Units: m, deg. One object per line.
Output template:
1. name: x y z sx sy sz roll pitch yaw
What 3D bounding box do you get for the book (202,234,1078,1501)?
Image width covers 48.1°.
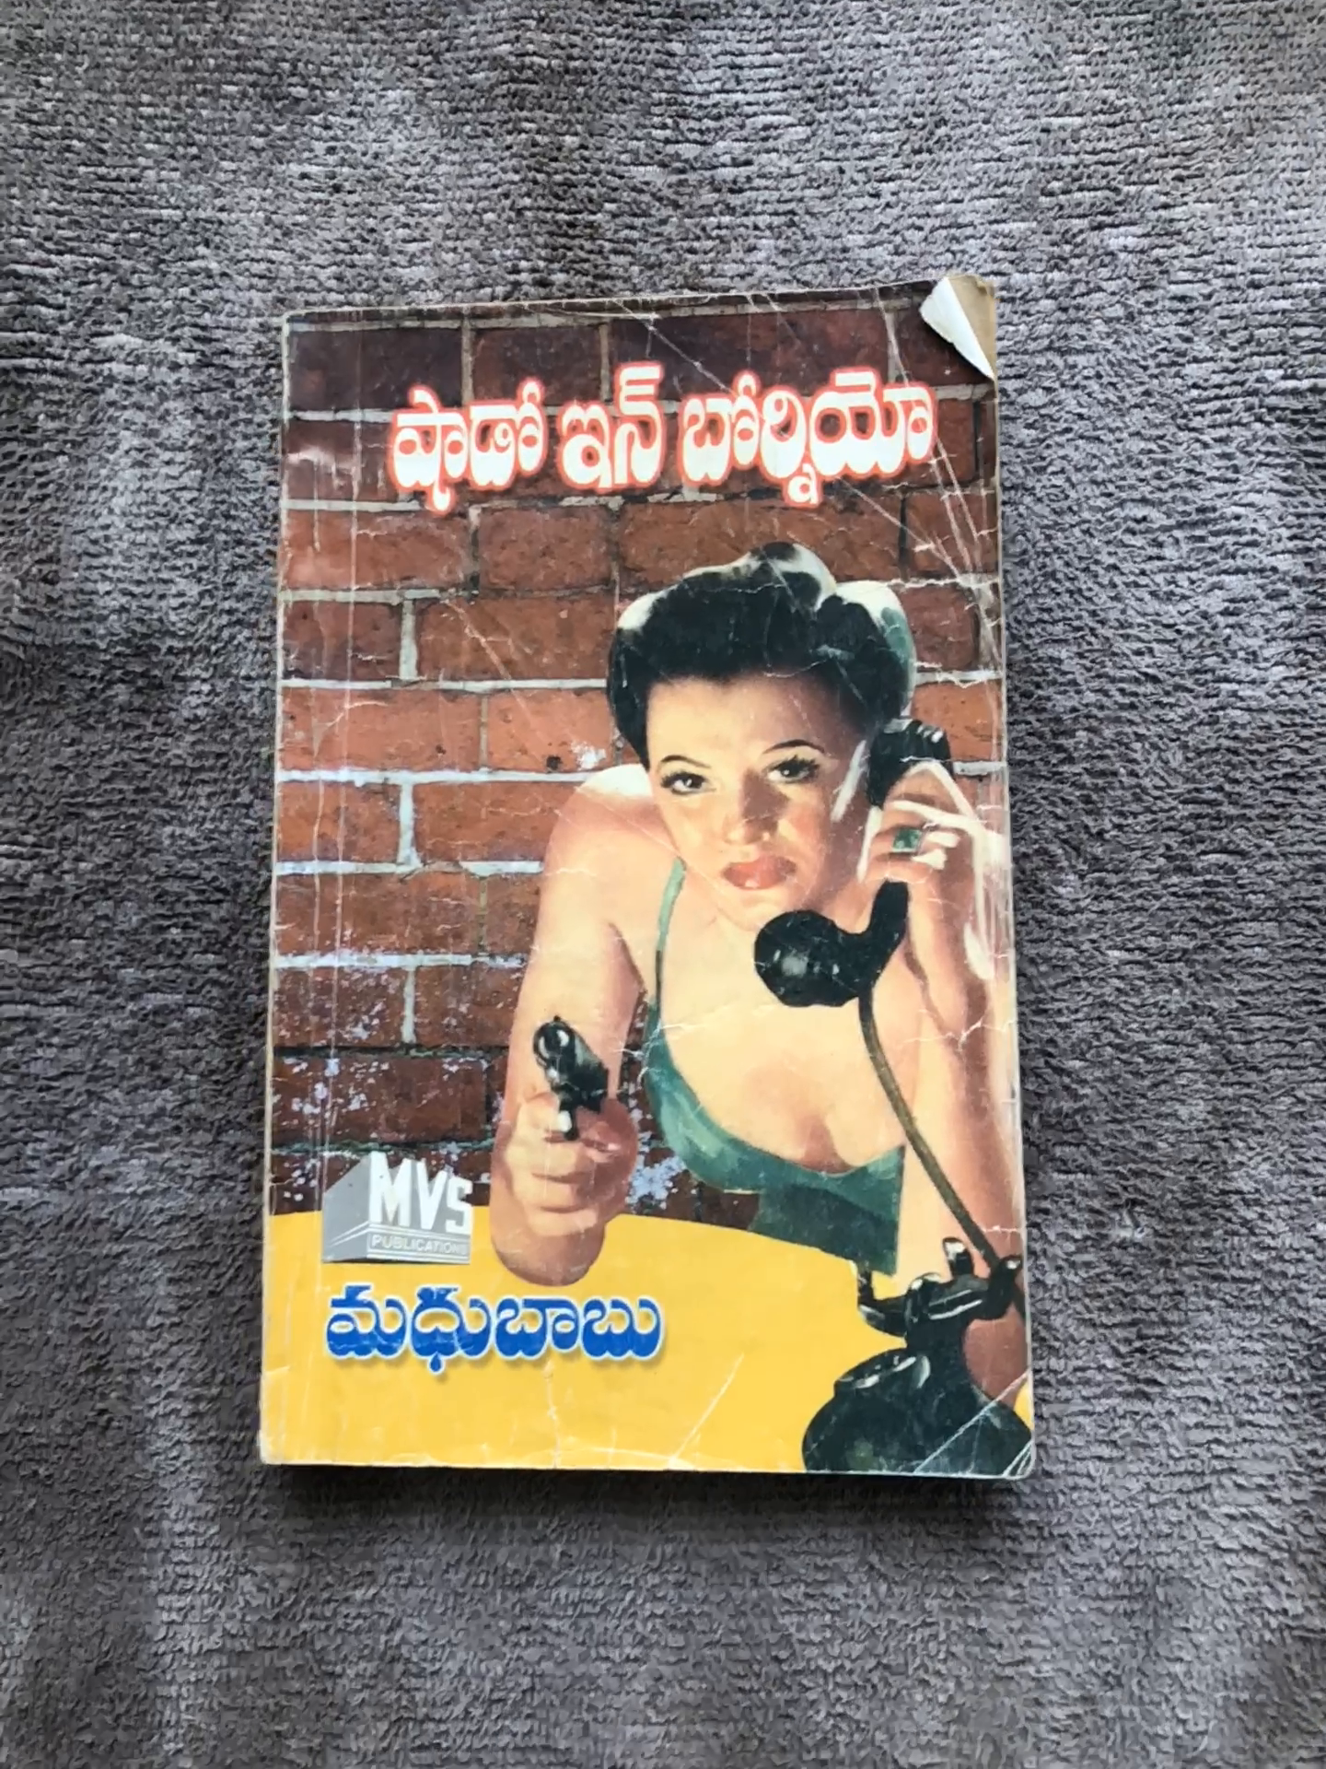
1. book: -0.002 -0.003 0.196 0.100 0.040 0.150 0 85 2
